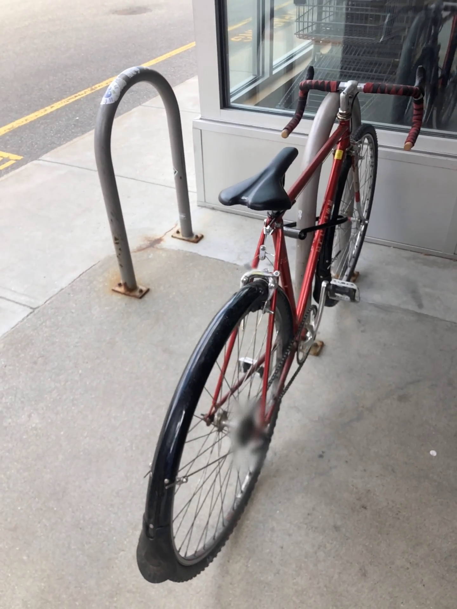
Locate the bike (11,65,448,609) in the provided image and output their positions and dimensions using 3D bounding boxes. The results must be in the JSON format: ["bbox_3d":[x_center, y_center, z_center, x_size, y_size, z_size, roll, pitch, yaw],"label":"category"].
[{"bbox_3d":[0.226,-0.042,1.558,0.458,0.787,1.699,15,45,21],"label":"bike"}]
